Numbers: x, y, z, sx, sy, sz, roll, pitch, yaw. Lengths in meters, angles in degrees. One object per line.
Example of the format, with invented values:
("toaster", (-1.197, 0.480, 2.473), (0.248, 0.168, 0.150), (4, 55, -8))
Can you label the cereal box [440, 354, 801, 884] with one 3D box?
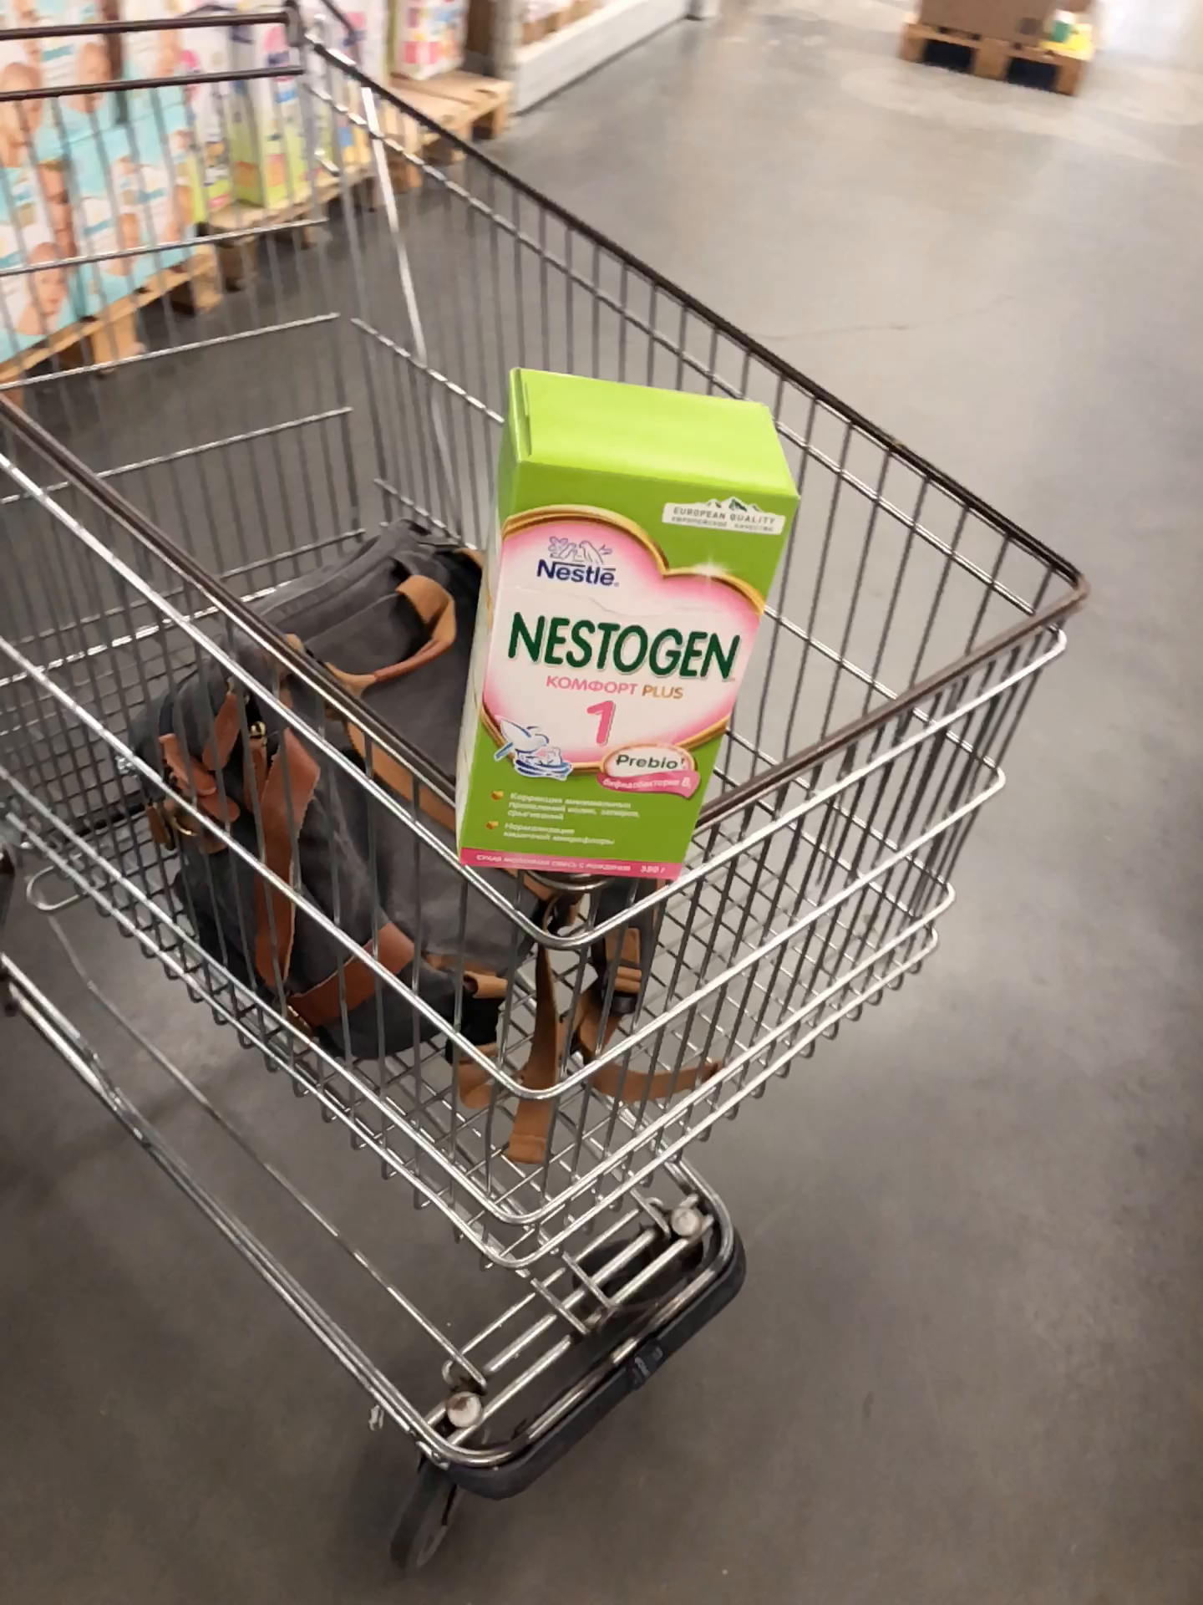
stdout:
("cereal box", (-0.003, -0.062, 0.514), (0.100, 0.189, 0.070), (4, 42, -11))
